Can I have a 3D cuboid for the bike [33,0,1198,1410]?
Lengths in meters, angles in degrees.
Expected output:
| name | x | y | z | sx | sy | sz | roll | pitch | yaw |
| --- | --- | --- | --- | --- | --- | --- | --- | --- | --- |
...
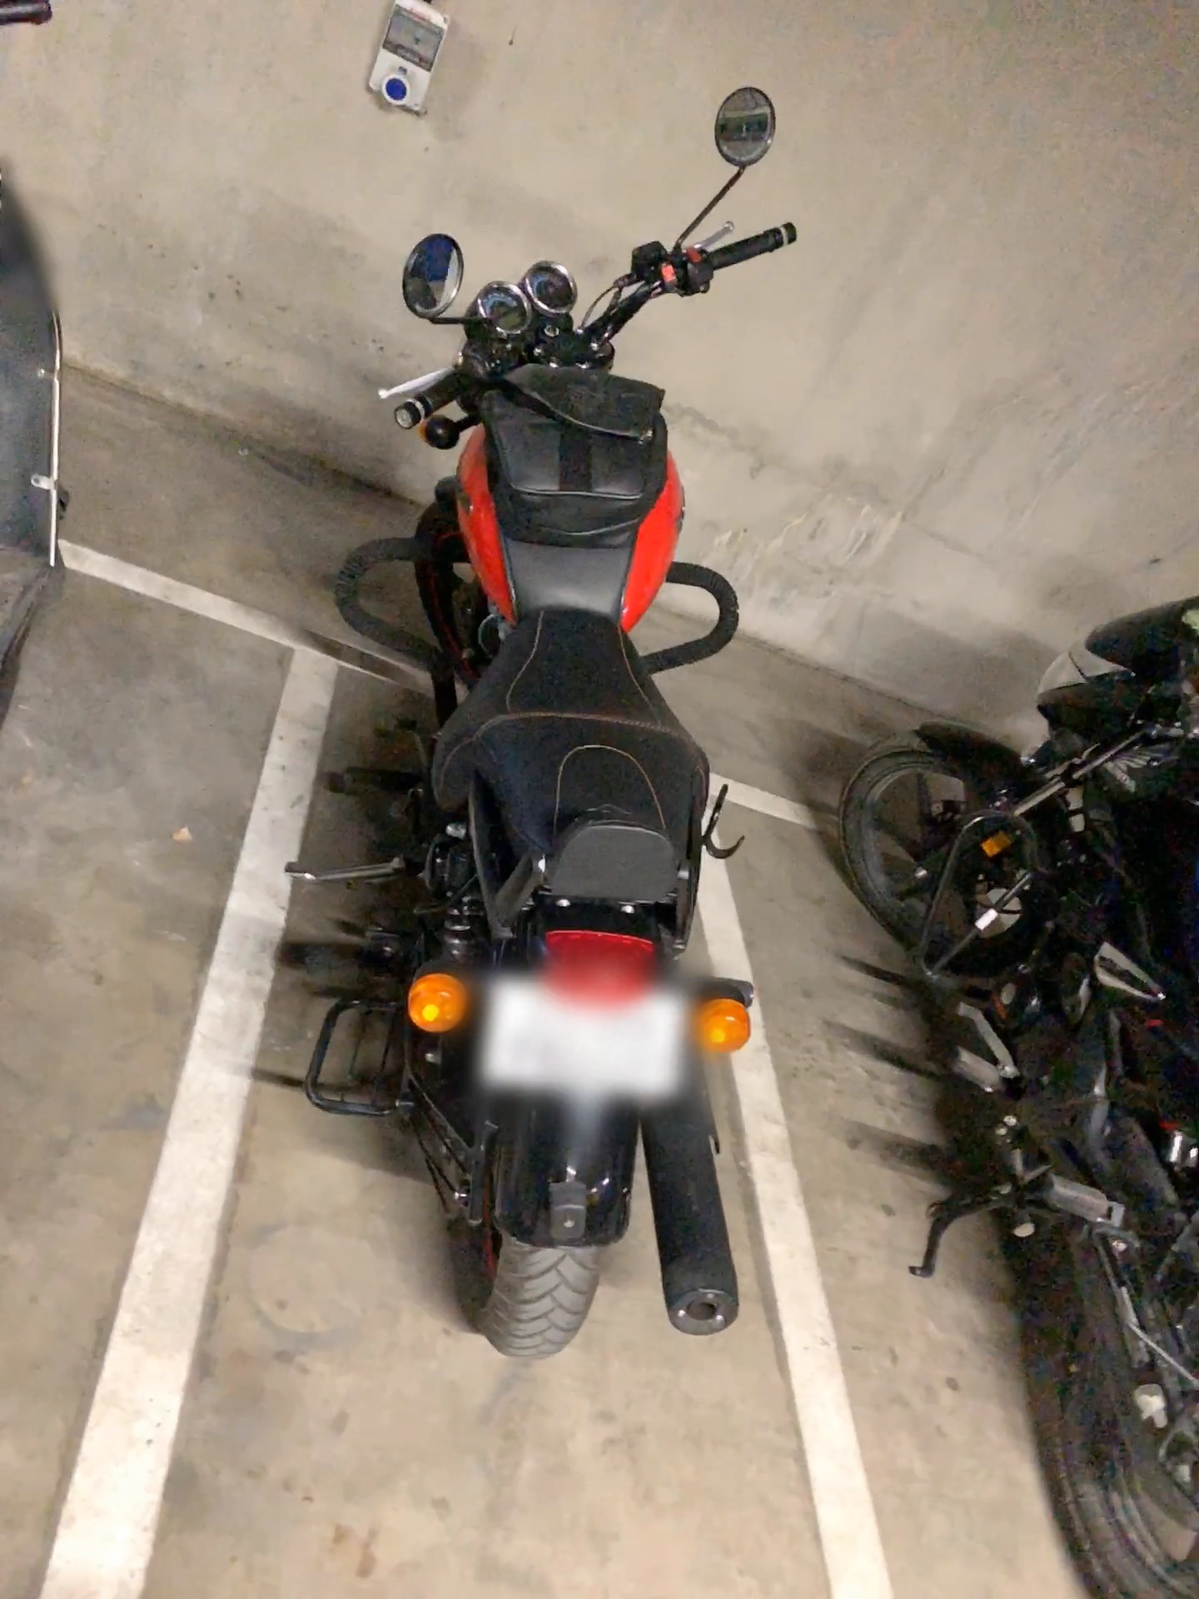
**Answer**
| name | x | y | z | sx | sy | sz | roll | pitch | yaw |
| --- | --- | --- | --- | --- | --- | --- | --- | --- | --- |
| bike | -0.189 | -0.354 | 1.881 | 0.829 | 1.302 | 1.842 | 13 | 38 | -26 |
